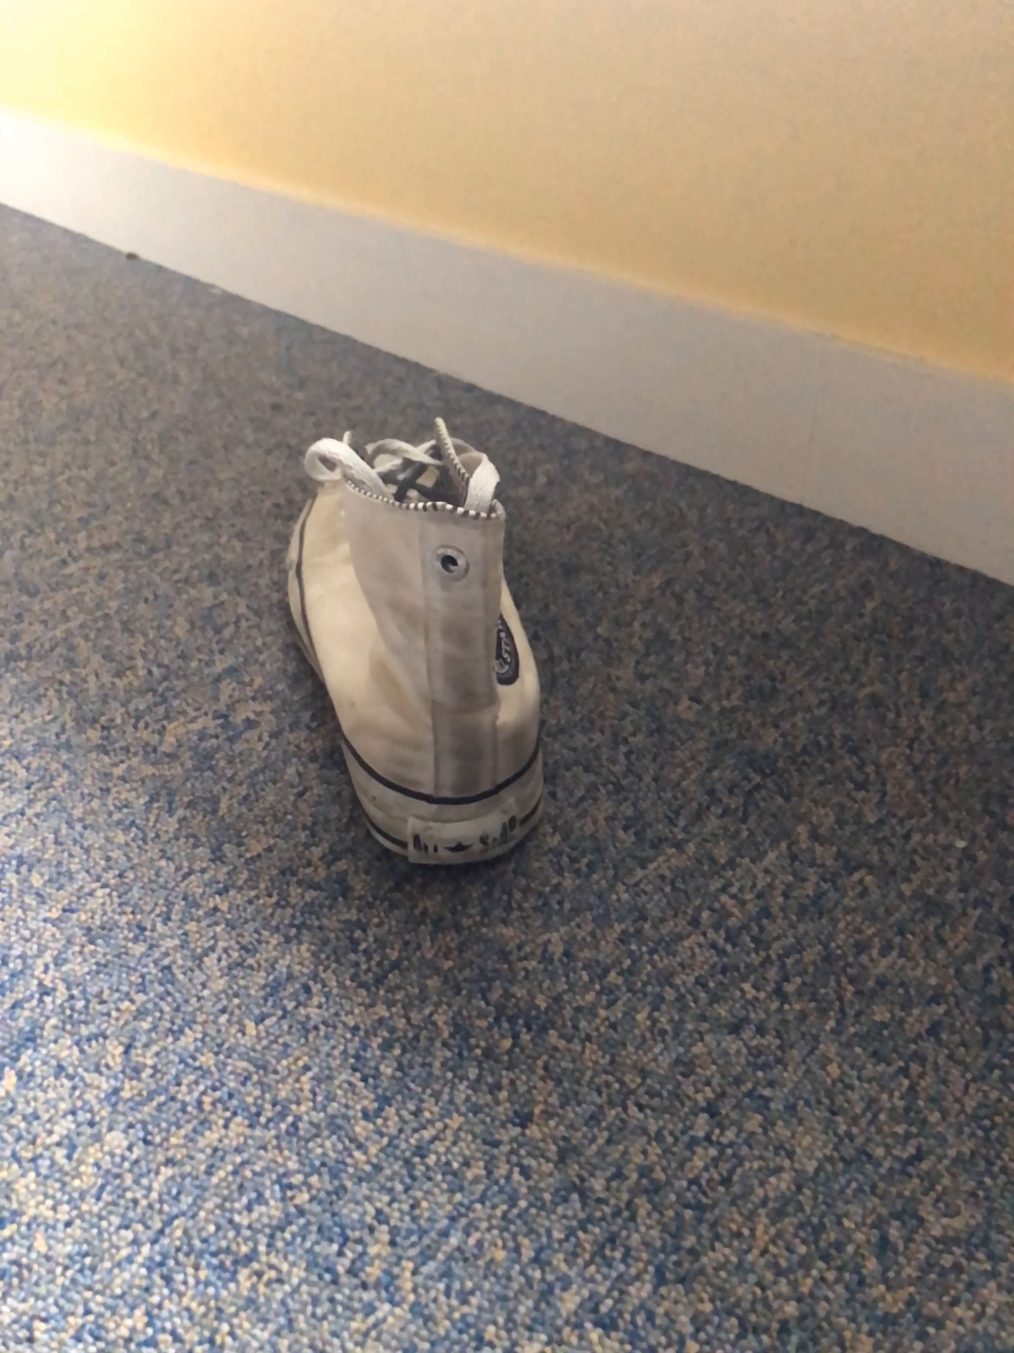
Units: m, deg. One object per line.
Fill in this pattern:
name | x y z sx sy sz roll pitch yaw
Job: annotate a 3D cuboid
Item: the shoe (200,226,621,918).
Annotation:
shoe | -0.047 -0.060 0.419 0.100 0.139 0.251 -10 37 -10
